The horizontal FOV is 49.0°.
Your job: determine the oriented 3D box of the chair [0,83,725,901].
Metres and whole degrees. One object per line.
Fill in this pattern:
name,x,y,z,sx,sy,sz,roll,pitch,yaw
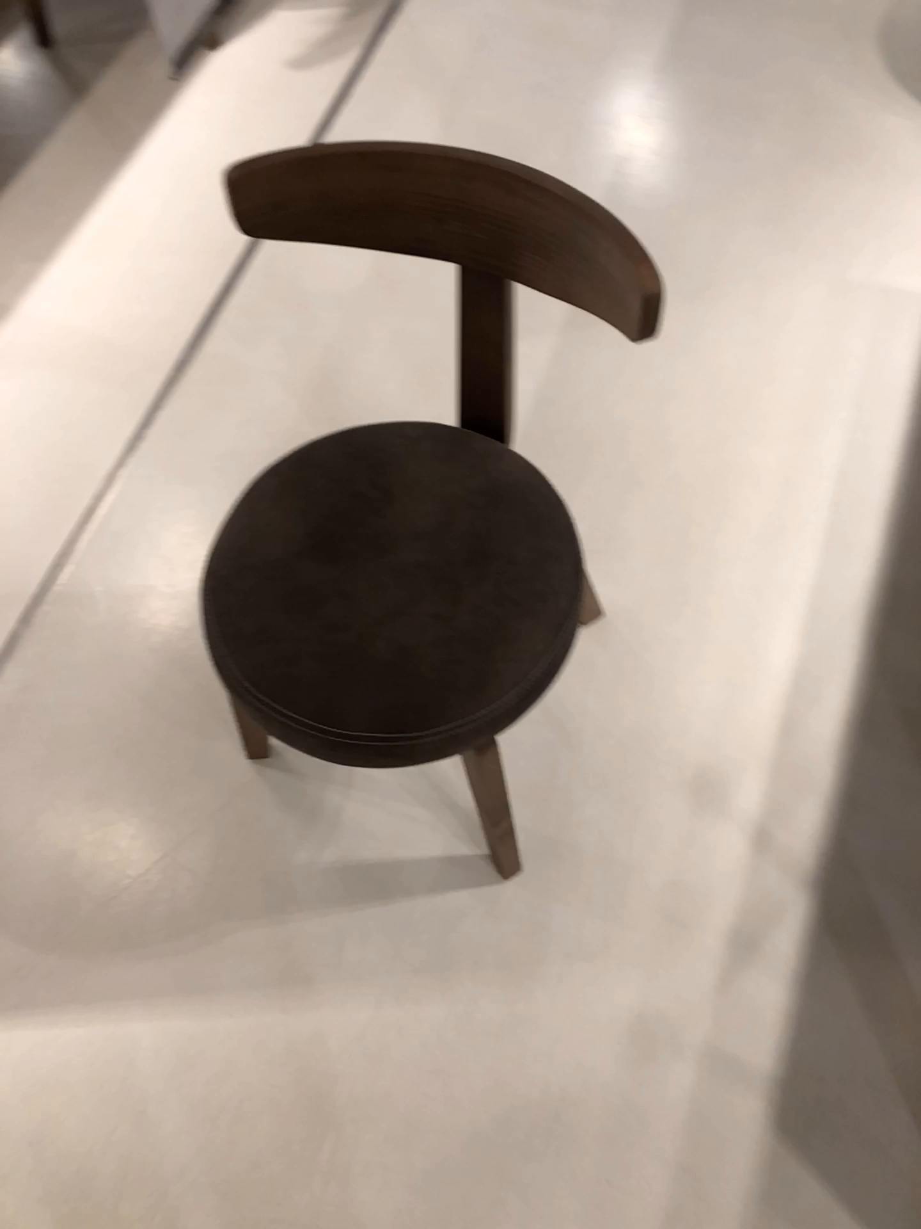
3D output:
chair,-0.057,-0.082,1.153,0.470,0.707,0.492,21,65,16
